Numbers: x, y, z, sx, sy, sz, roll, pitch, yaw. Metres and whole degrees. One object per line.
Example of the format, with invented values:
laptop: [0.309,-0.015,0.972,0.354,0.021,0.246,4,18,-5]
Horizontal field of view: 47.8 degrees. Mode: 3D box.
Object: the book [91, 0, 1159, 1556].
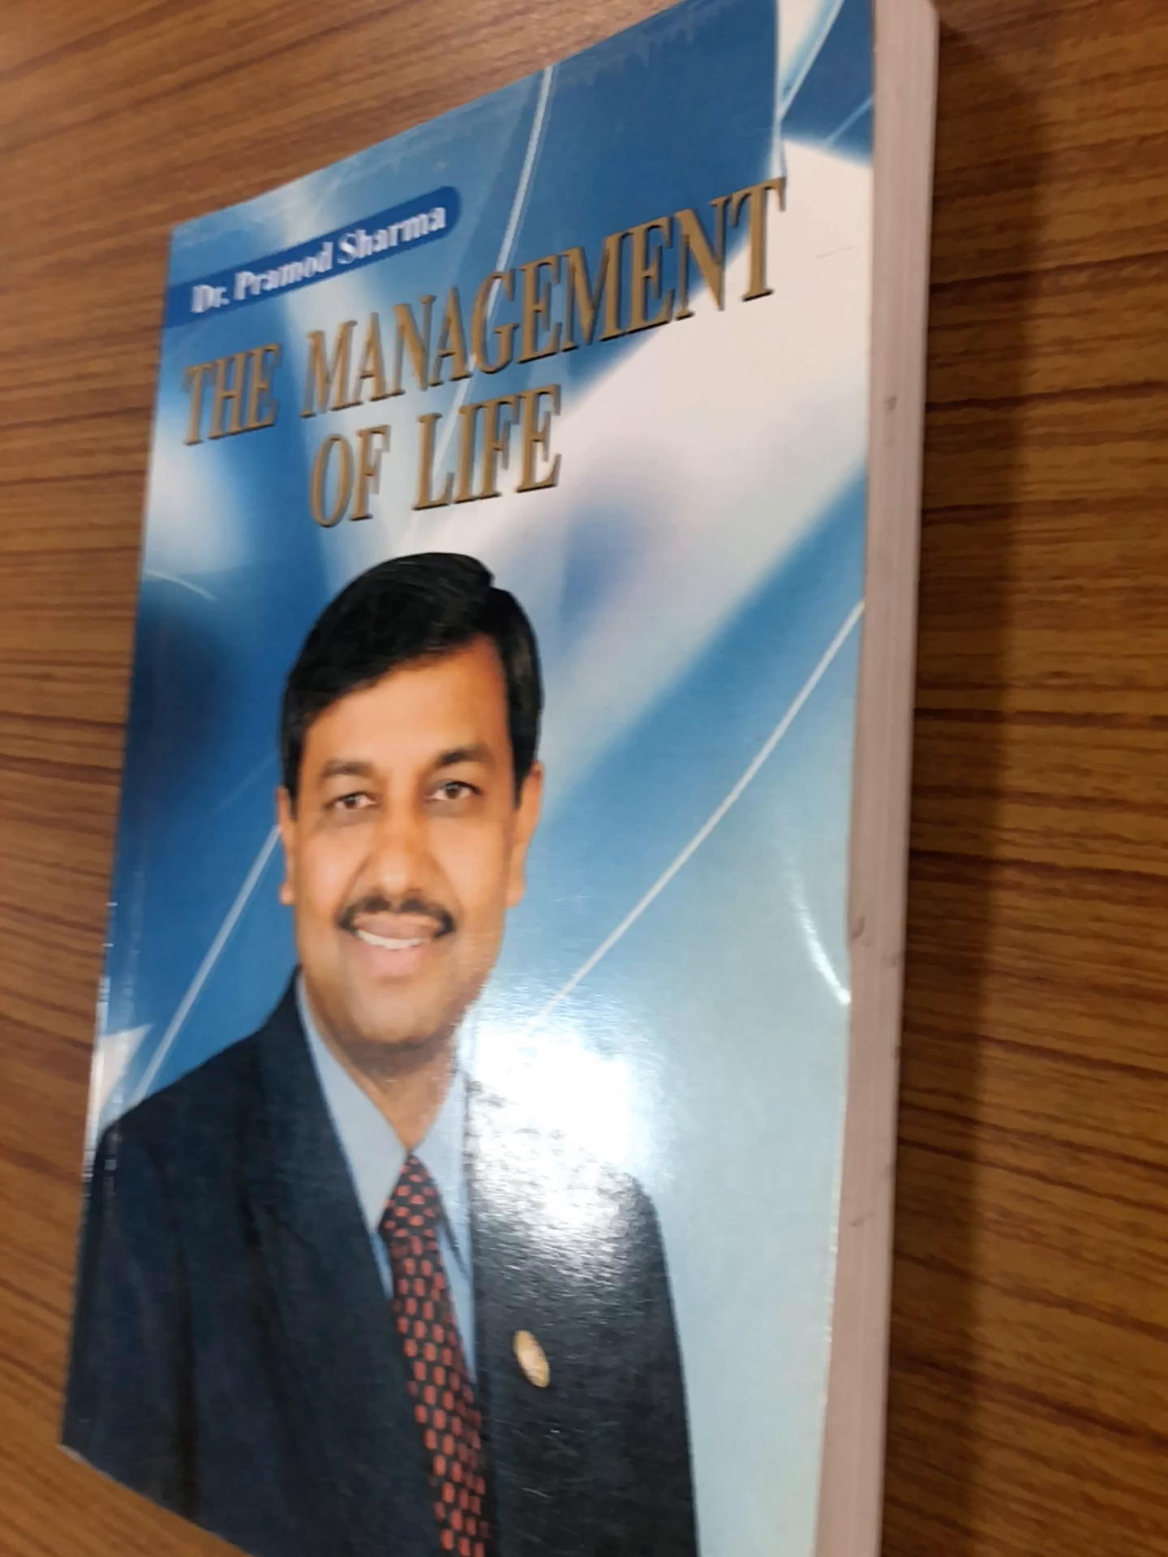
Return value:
book: [-0.007,0.008,0.177,0.151,0.020,0.210,-1,84,40]
